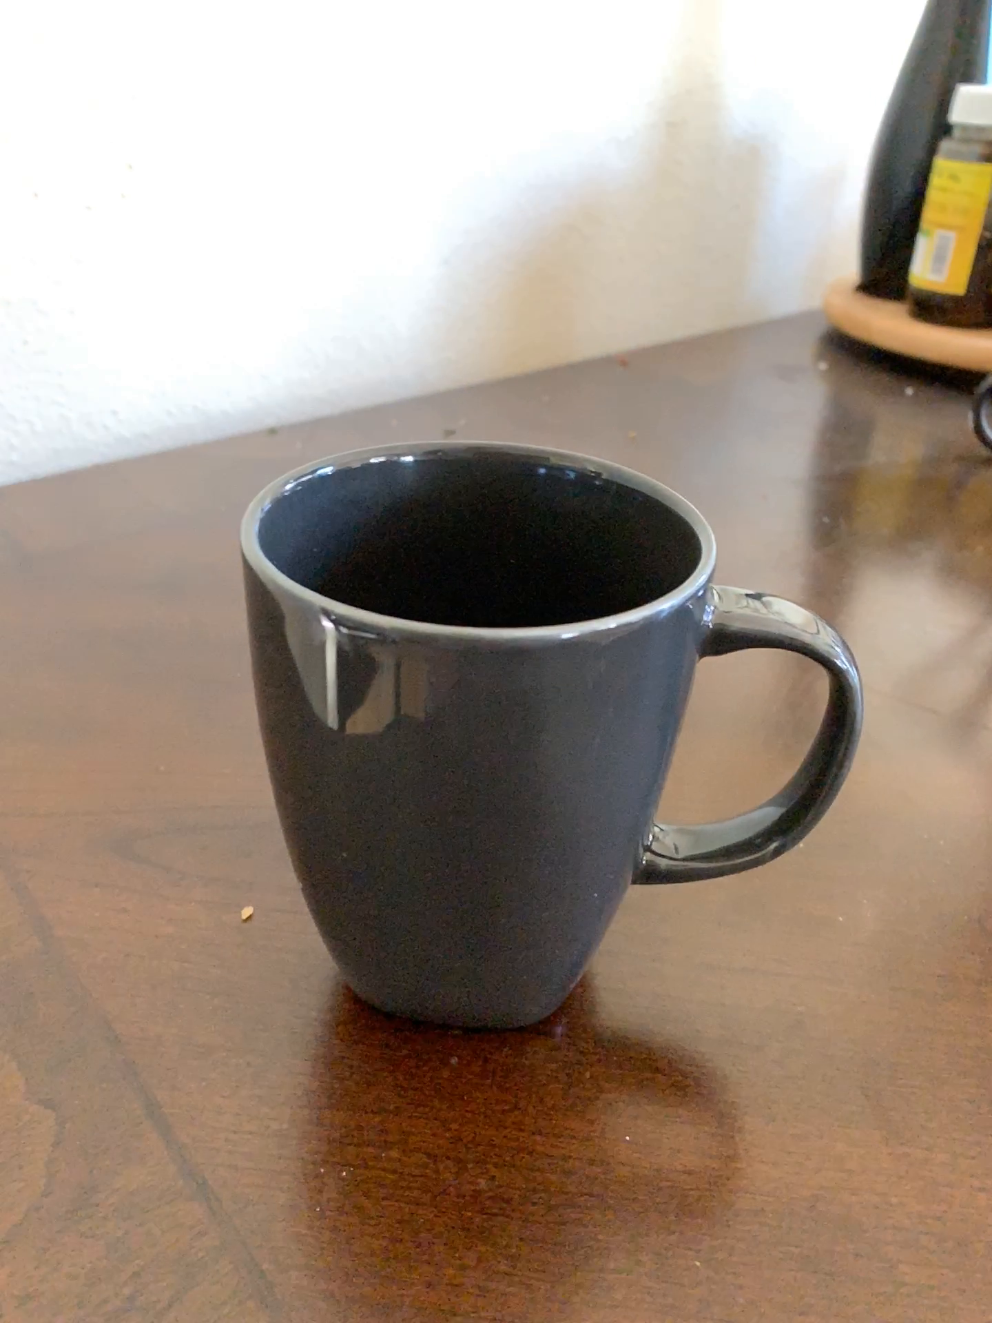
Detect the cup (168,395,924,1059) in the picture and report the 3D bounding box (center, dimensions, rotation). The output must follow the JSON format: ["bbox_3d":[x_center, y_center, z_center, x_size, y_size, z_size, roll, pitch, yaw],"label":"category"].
[{"bbox_3d":[0.008,0.009,0.209,0.107,0.096,0.089,2,31,2],"label":"cup"}]
